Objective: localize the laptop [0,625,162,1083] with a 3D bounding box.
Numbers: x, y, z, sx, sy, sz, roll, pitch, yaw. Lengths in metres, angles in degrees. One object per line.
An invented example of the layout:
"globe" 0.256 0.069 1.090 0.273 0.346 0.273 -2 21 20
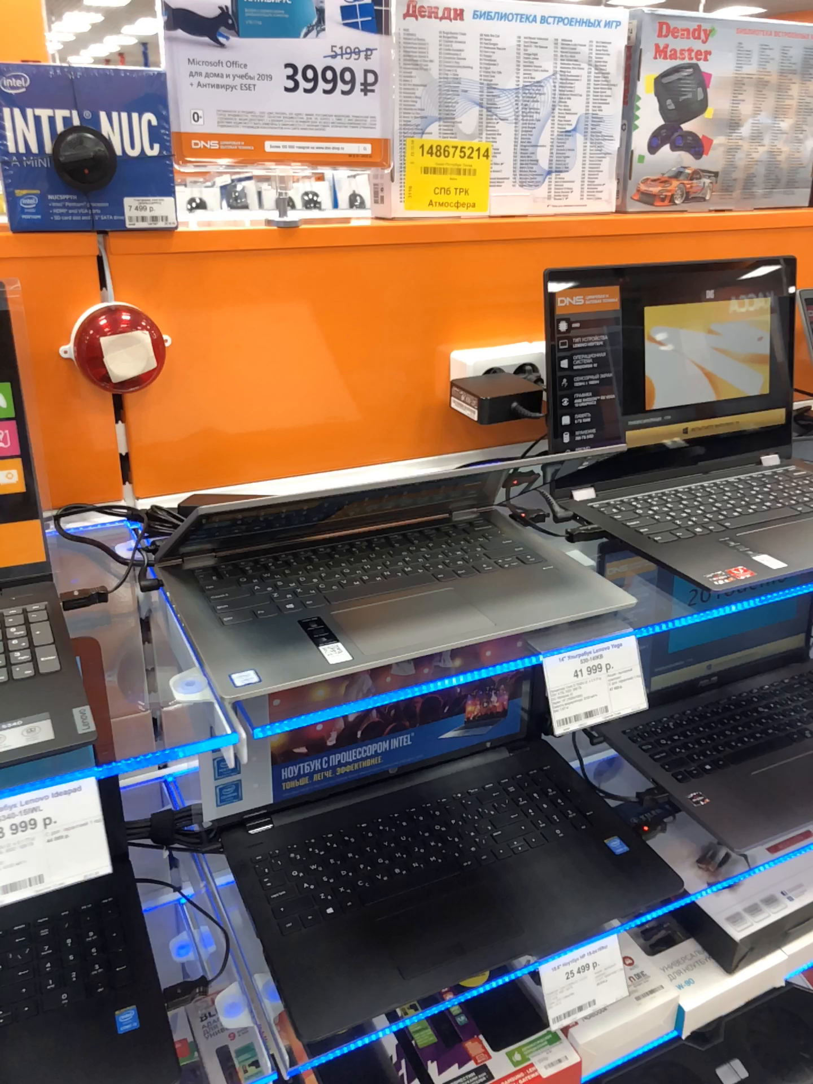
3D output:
"laptop" -0.366 0.252 0.620 0.333 0.222 0.244 -9 28 -24

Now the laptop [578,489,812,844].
"laptop" 0.411 0.112 0.964 0.329 0.228 0.235 -11 27 -25

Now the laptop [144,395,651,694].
"laptop" -0.014 -0.019 0.680 0.313 0.110 0.210 -10 26 -24

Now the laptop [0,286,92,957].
"laptop" -0.381 -0.010 0.503 0.329 0.219 0.277 -10 25 -25

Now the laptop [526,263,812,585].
"laptop" 0.333 -0.131 0.824 0.328 0.210 0.247 -11 26 -26

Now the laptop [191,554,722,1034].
"laptop" 0.030 0.190 0.801 0.361 0.223 0.260 -10 25 -23
